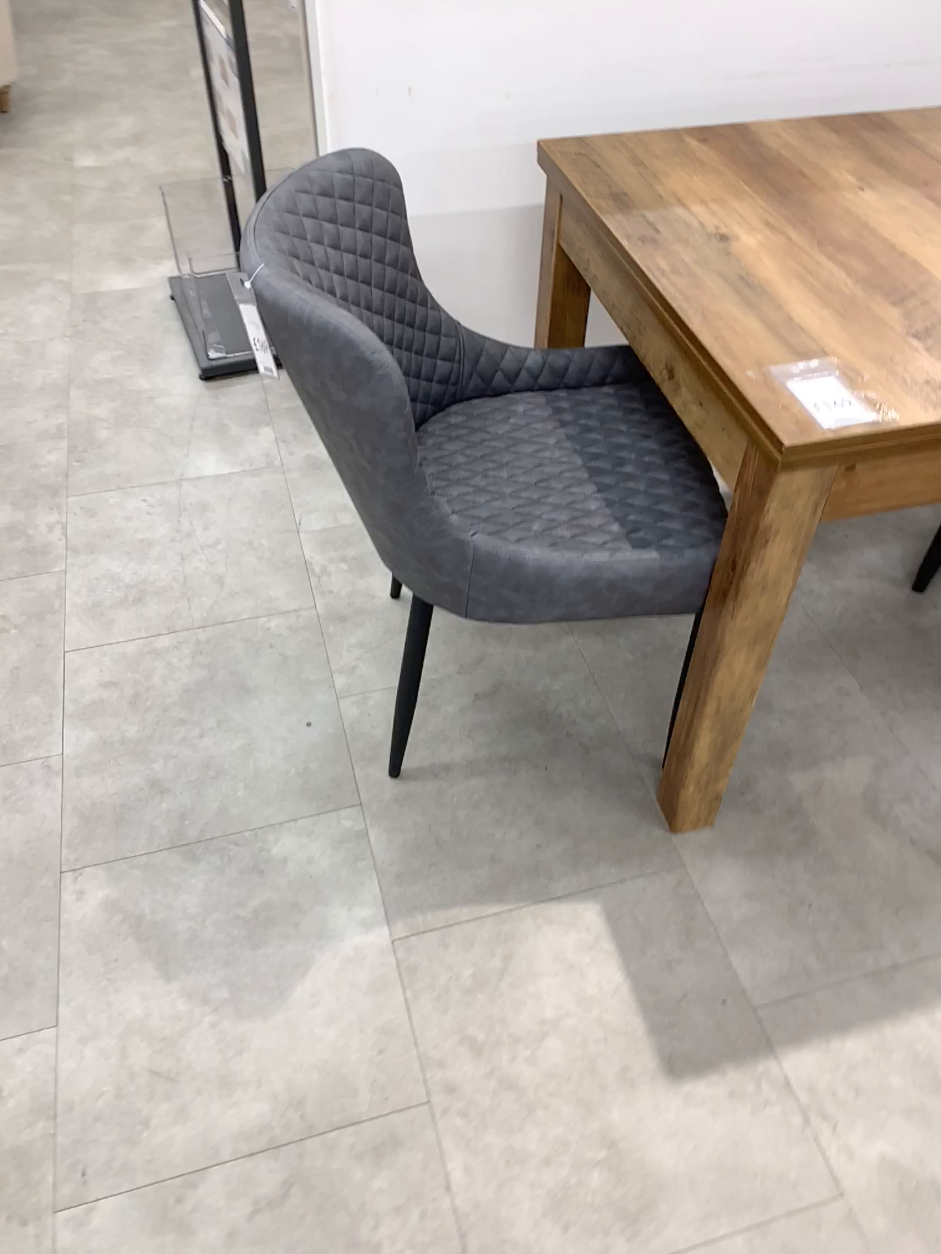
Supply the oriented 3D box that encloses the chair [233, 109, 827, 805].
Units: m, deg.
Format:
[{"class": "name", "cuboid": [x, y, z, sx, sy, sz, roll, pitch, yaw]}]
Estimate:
[{"class": "chair", "cuboid": [0.032, -0.211, 1.341, 0.550, 0.775, 0.533, -3, 46, -4]}]
